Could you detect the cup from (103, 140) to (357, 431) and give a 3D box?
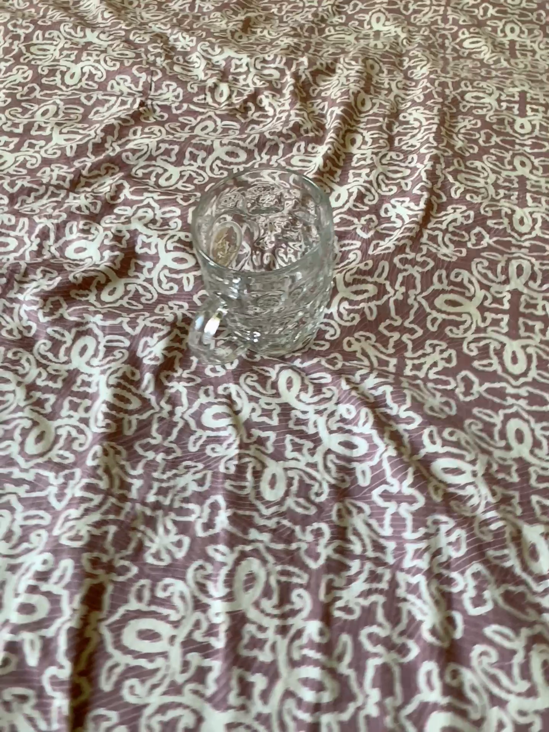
[{"bbox_3d":[-0.021,-0.054,0.371,0.090,0.109,0.131,26,59,19],"label":"cup"}]
